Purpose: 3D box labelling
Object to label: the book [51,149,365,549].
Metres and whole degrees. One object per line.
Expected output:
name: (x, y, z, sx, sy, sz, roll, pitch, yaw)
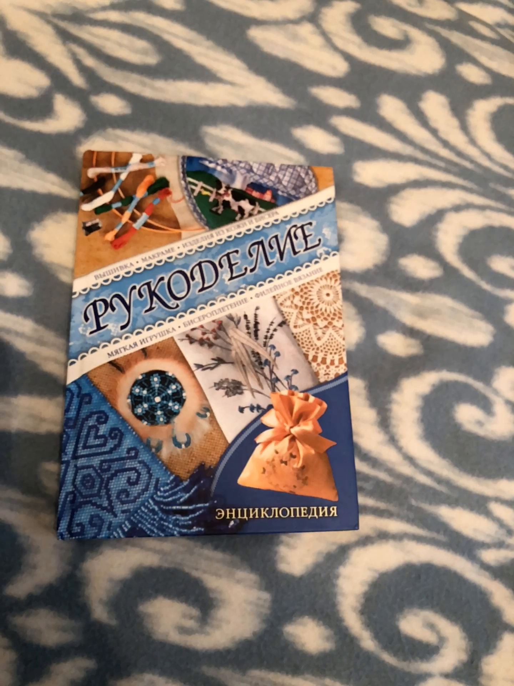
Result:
book: (-0.027, -0.004, 0.350, 0.168, 0.020, 0.238, 1, 73, -9)
